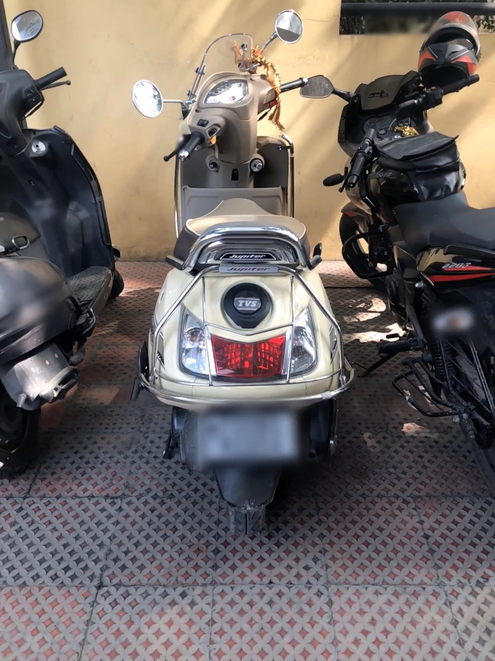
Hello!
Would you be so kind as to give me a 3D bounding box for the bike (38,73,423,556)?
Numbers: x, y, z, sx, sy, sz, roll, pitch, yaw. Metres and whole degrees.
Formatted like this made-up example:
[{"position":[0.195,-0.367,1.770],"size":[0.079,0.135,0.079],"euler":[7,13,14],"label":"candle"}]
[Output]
[{"position":[-0.142,-0.262,1.860],"size":[0.644,0.999,1.635],"euler":[-4,30,-6],"label":"bike"}]
